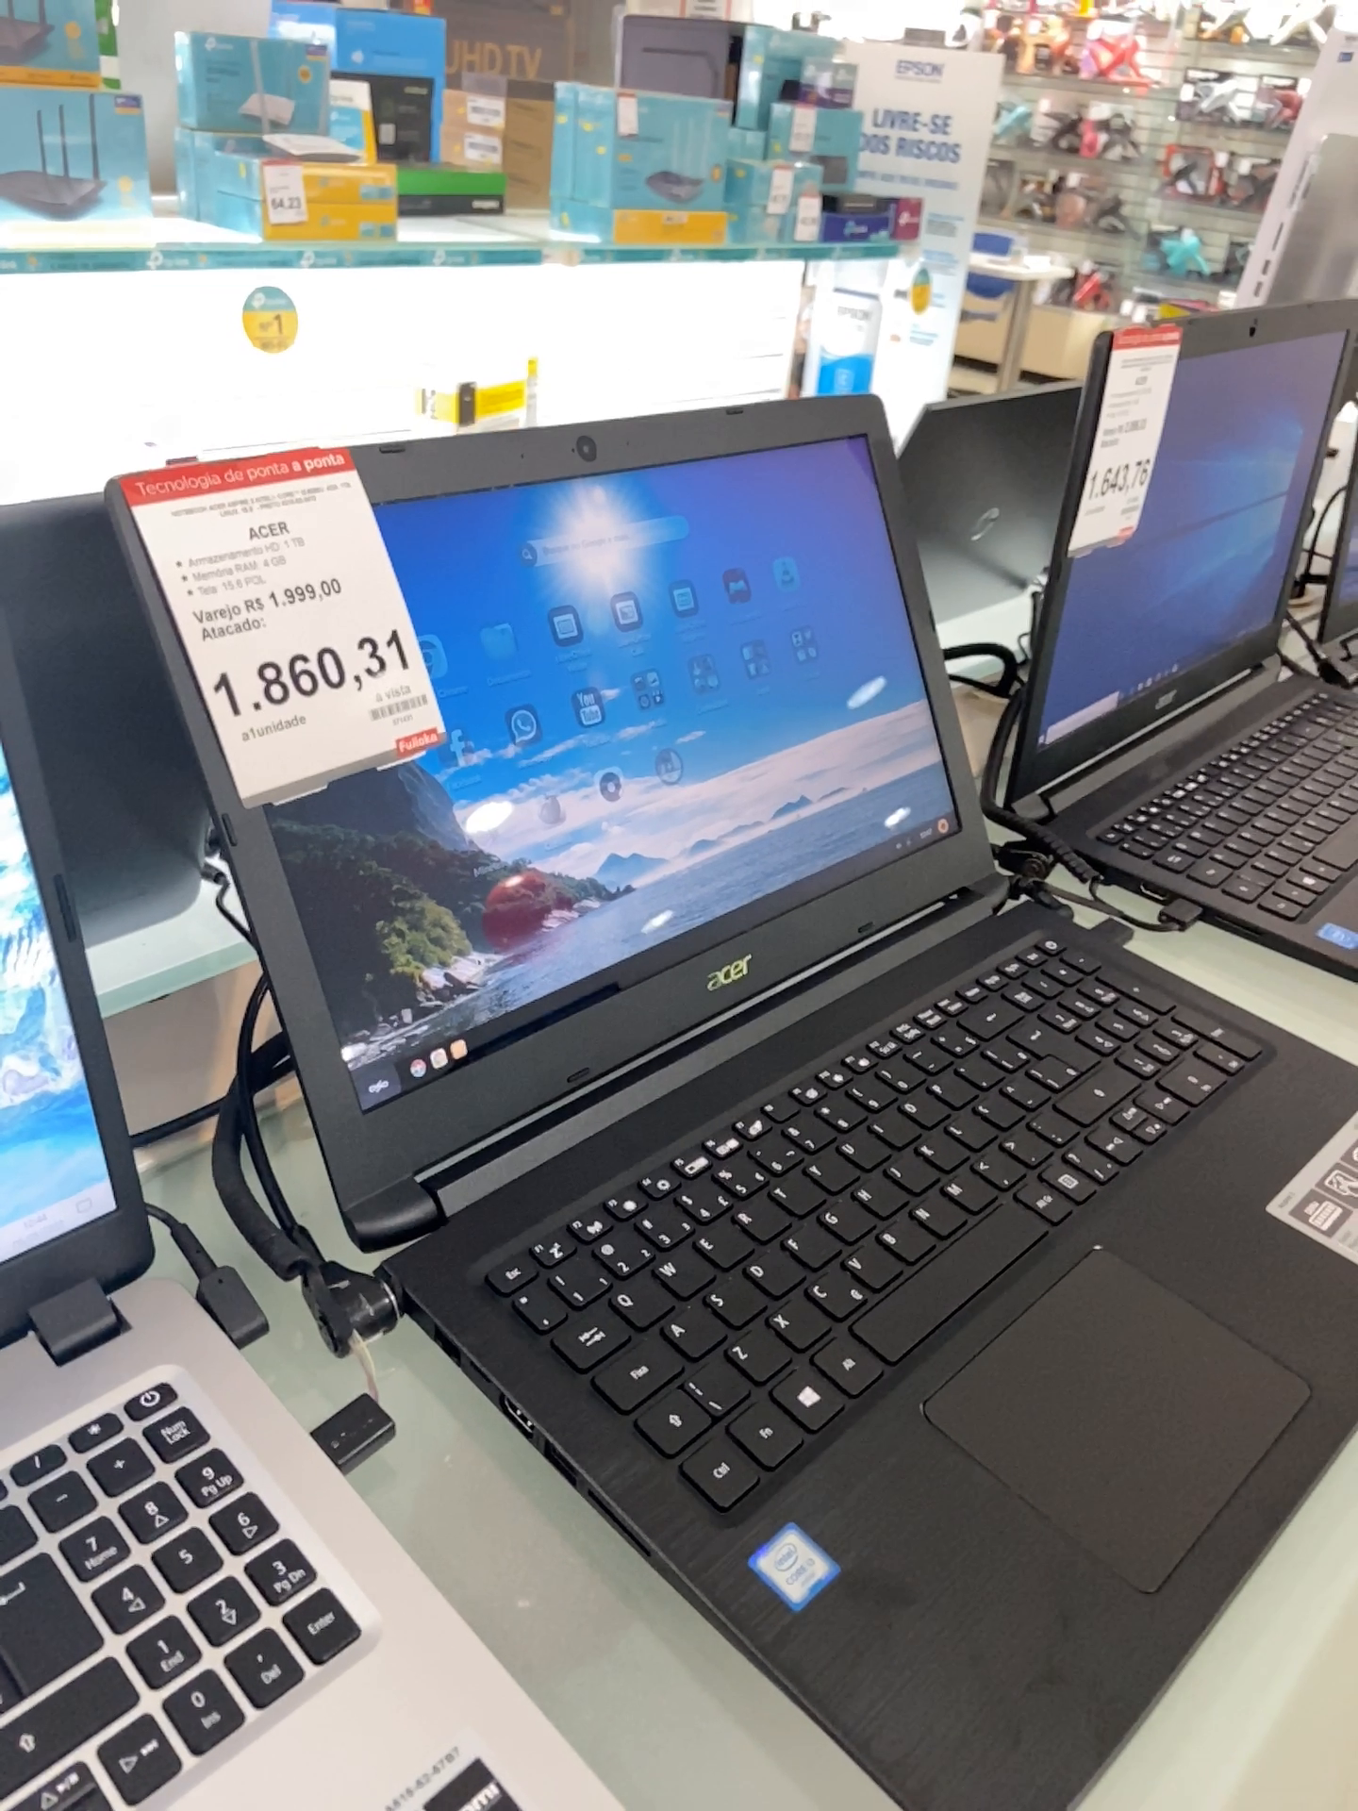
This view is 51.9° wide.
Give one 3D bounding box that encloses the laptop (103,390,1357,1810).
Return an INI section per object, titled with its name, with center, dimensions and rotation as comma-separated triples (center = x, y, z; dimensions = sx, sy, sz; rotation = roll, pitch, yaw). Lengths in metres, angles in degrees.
[laptop]
center = 0.082, -0.014, 0.487
dimensions = 0.380, 0.215, 0.380
rotation = -23, 41, -39
